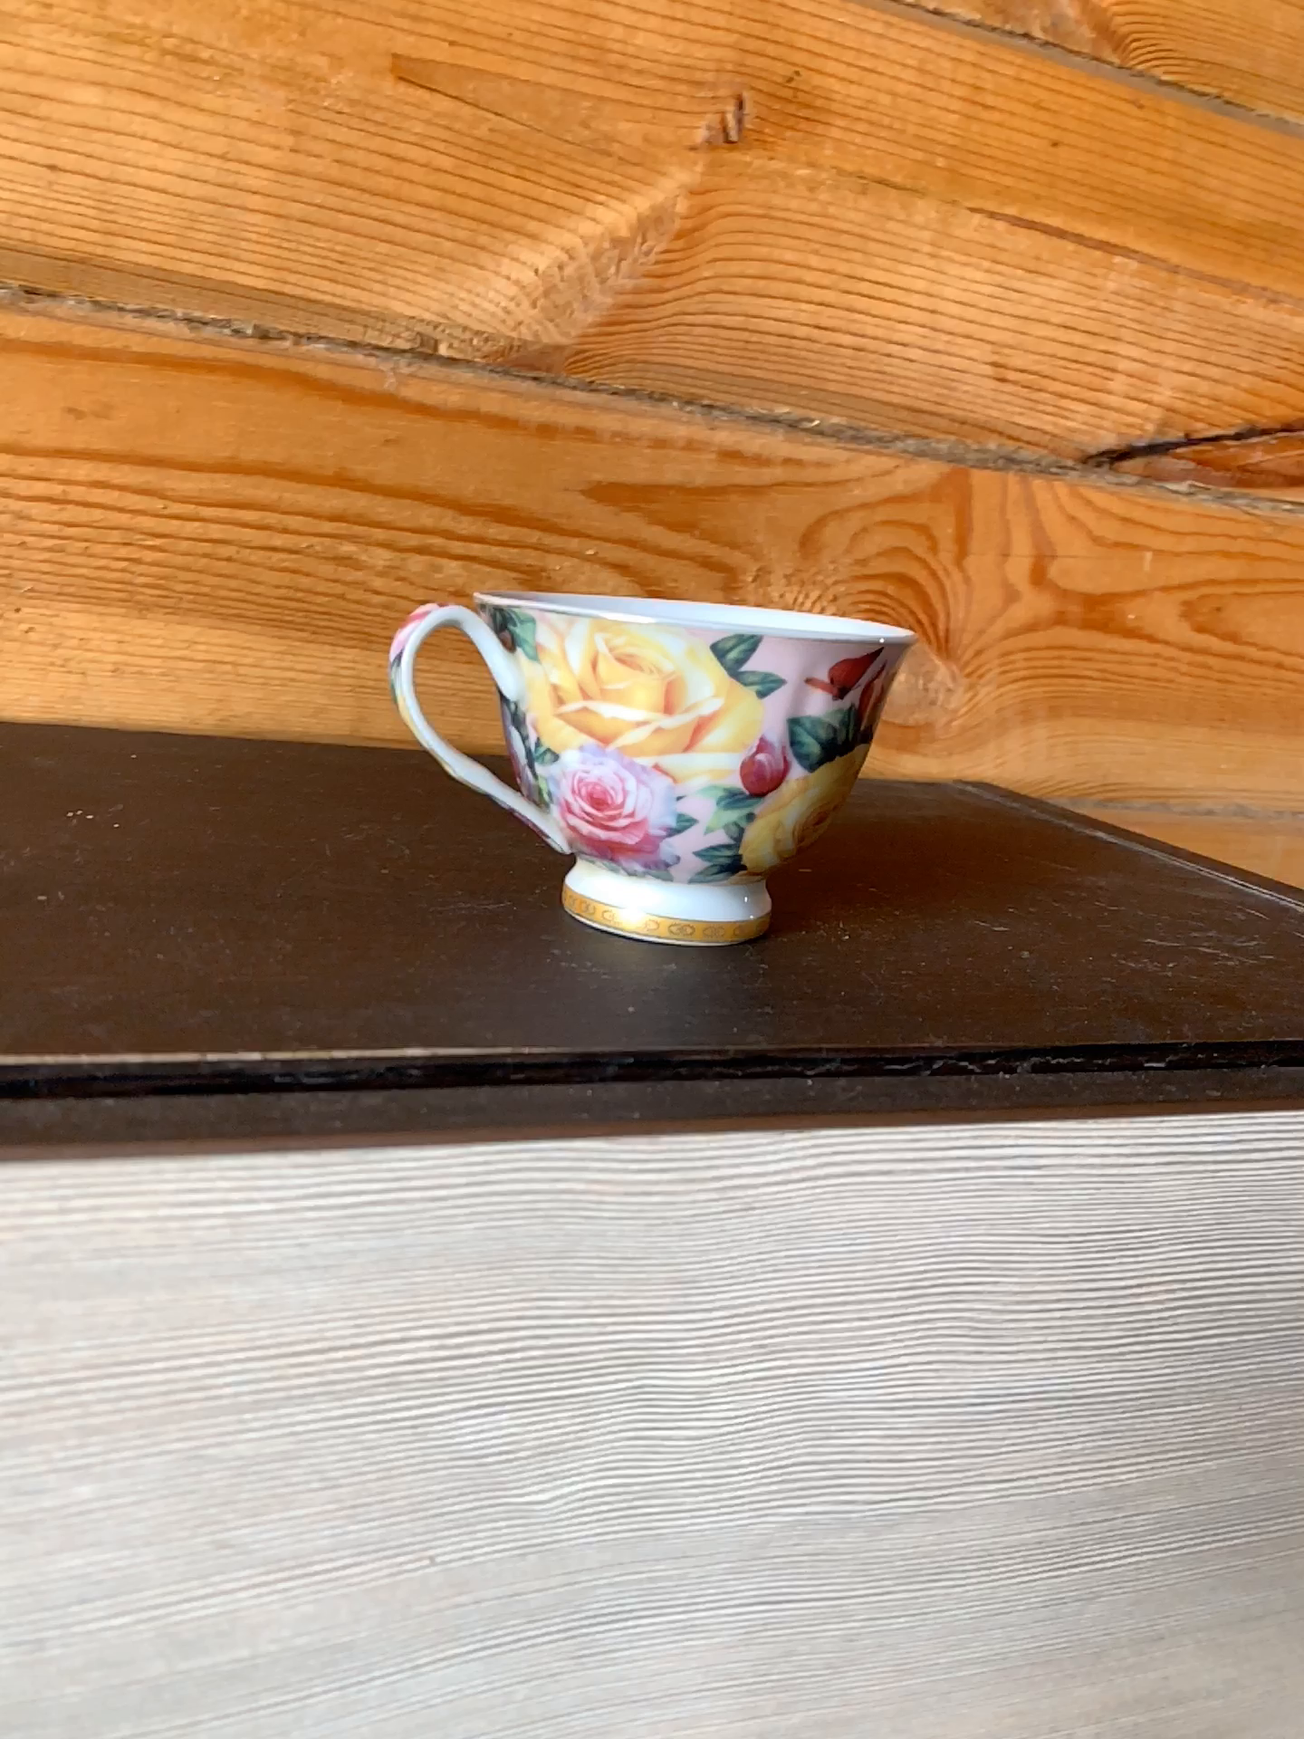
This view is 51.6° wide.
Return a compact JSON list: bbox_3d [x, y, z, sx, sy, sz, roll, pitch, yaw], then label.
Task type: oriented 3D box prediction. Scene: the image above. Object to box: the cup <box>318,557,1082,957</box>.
[{"bbox_3d":[0.002,-0.026,0.274,0.120,0.060,0.100,2,12,-22],"label":"cup"}]
